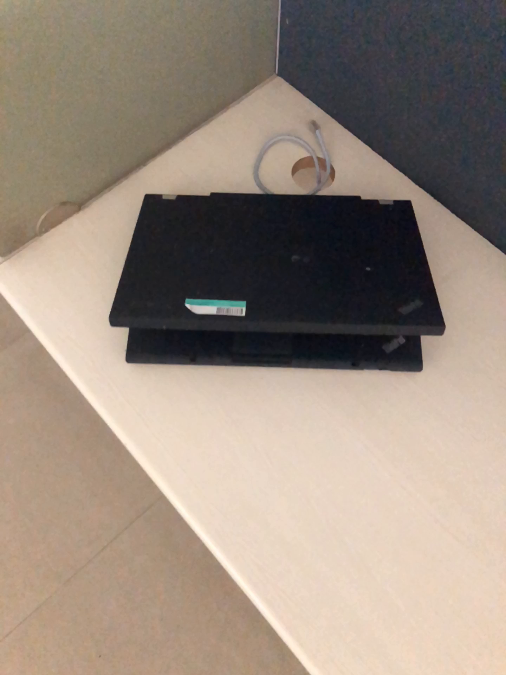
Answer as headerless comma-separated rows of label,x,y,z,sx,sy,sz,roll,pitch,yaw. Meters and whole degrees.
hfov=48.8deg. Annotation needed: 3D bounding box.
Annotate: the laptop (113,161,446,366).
laptop,0.032,-0.095,0.692,0.363,0.077,0.235,2,67,1
